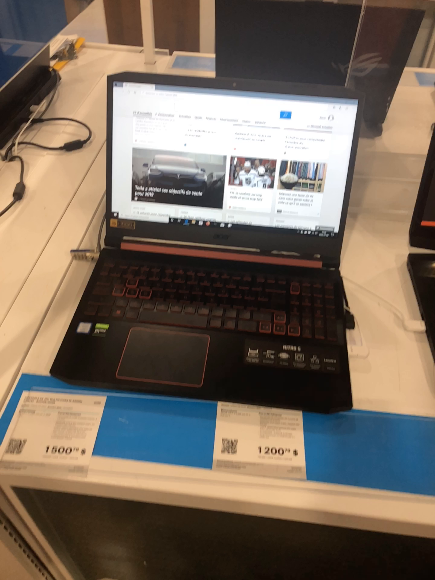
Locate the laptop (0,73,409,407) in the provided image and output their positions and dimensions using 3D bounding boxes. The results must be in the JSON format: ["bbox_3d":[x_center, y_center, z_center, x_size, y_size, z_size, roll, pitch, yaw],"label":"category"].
[{"bbox_3d":[0.001,-0.085,0.612,0.357,0.211,0.360,6,46,4],"label":"laptop"}]
